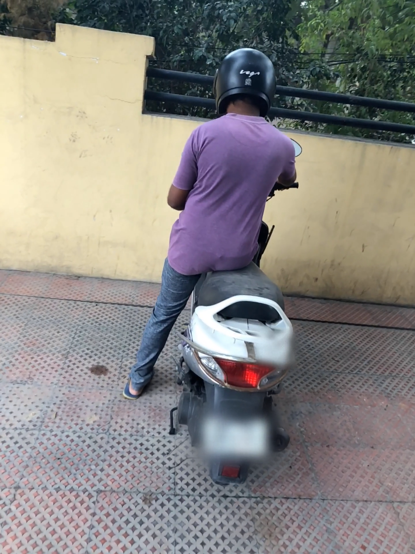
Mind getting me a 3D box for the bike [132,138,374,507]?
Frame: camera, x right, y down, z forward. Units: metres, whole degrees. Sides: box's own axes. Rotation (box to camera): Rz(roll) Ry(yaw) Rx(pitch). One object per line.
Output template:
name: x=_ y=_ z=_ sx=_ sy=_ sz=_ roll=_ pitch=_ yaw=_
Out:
bike: x=0.073 y=0.029 z=2.174 sx=0.643 sy=0.949 sz=1.509 roll=6 pitch=27 yaw=-5
